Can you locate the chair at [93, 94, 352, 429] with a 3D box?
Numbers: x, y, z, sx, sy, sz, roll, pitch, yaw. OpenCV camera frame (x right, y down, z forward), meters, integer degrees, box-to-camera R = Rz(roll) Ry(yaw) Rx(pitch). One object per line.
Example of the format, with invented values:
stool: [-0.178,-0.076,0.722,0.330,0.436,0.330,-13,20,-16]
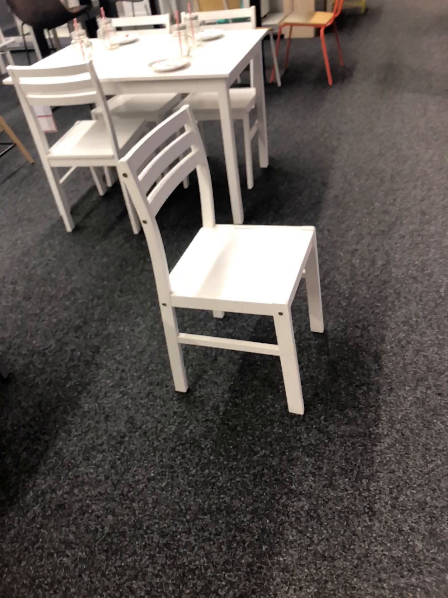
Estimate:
chair: [0.069,-0.111,1.420,0.500,0.766,0.503,6,40,18]
